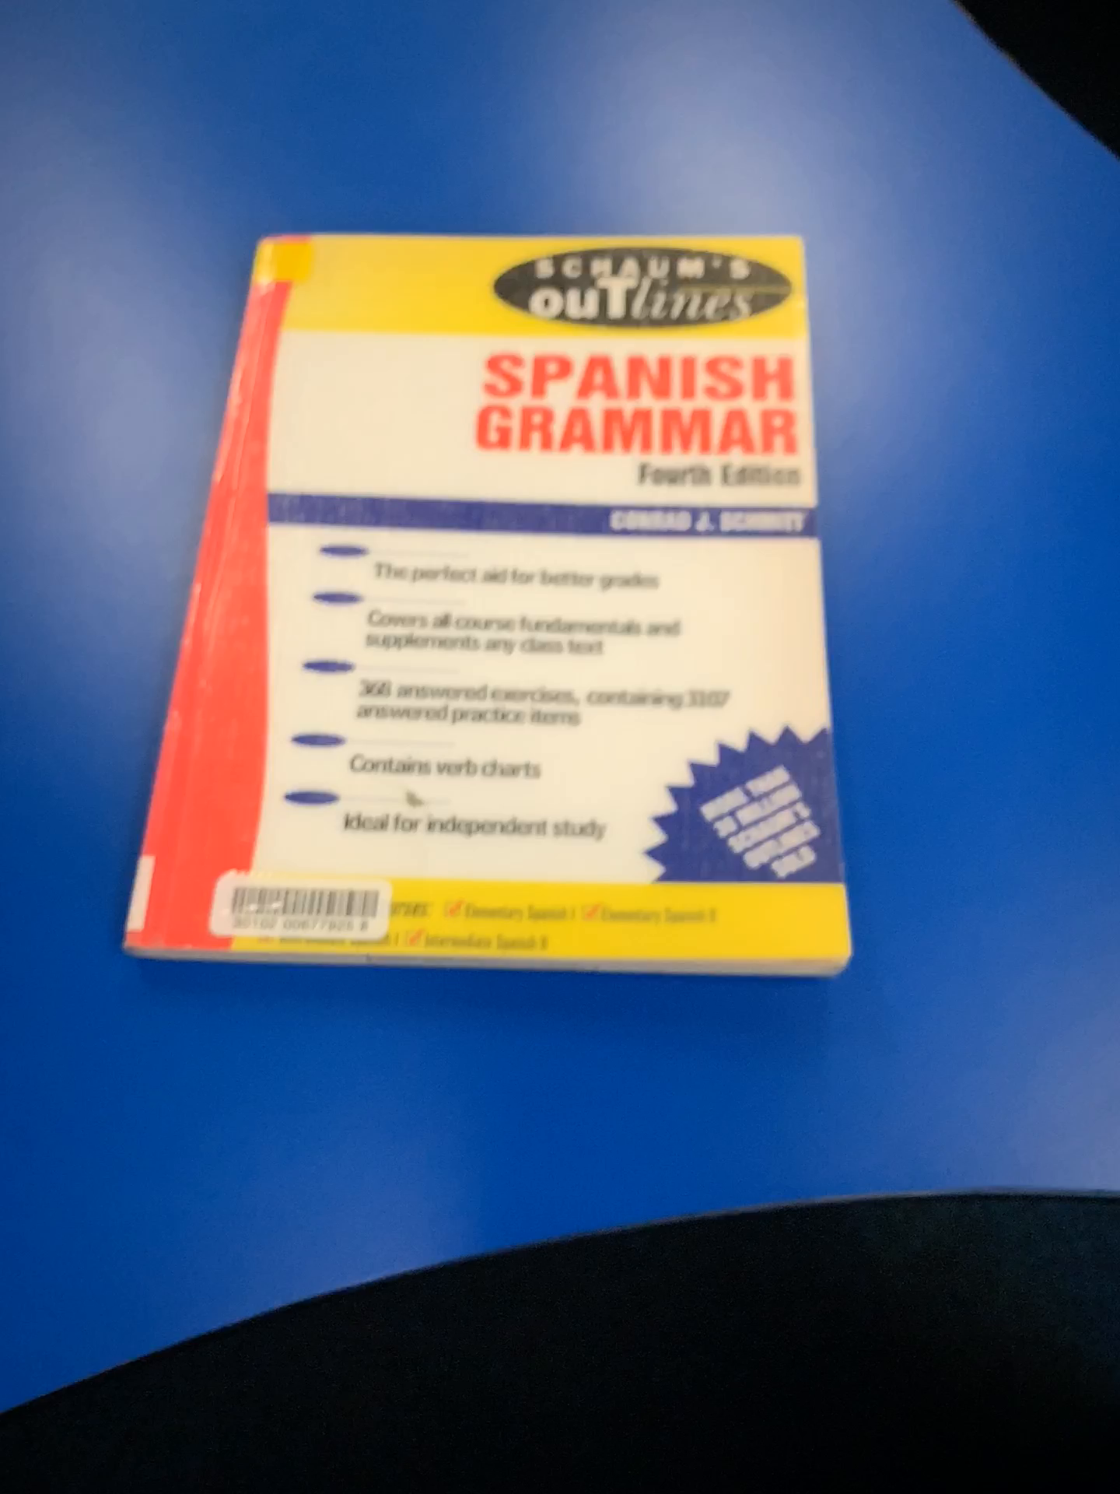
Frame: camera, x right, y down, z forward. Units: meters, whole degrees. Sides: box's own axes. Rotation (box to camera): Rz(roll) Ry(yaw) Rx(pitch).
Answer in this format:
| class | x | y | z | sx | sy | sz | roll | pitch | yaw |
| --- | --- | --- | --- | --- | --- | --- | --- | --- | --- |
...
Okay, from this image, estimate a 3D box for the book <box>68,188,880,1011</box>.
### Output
| class | x | y | z | sx | sy | sz | roll | pitch | yaw |
| --- | --- | --- | --- | --- | --- | --- | --- | --- | --- |
| book | -0.019 | -0.063 | 0.378 | 0.210 | 0.040 | 0.281 | 1 | 66 | 2 |
